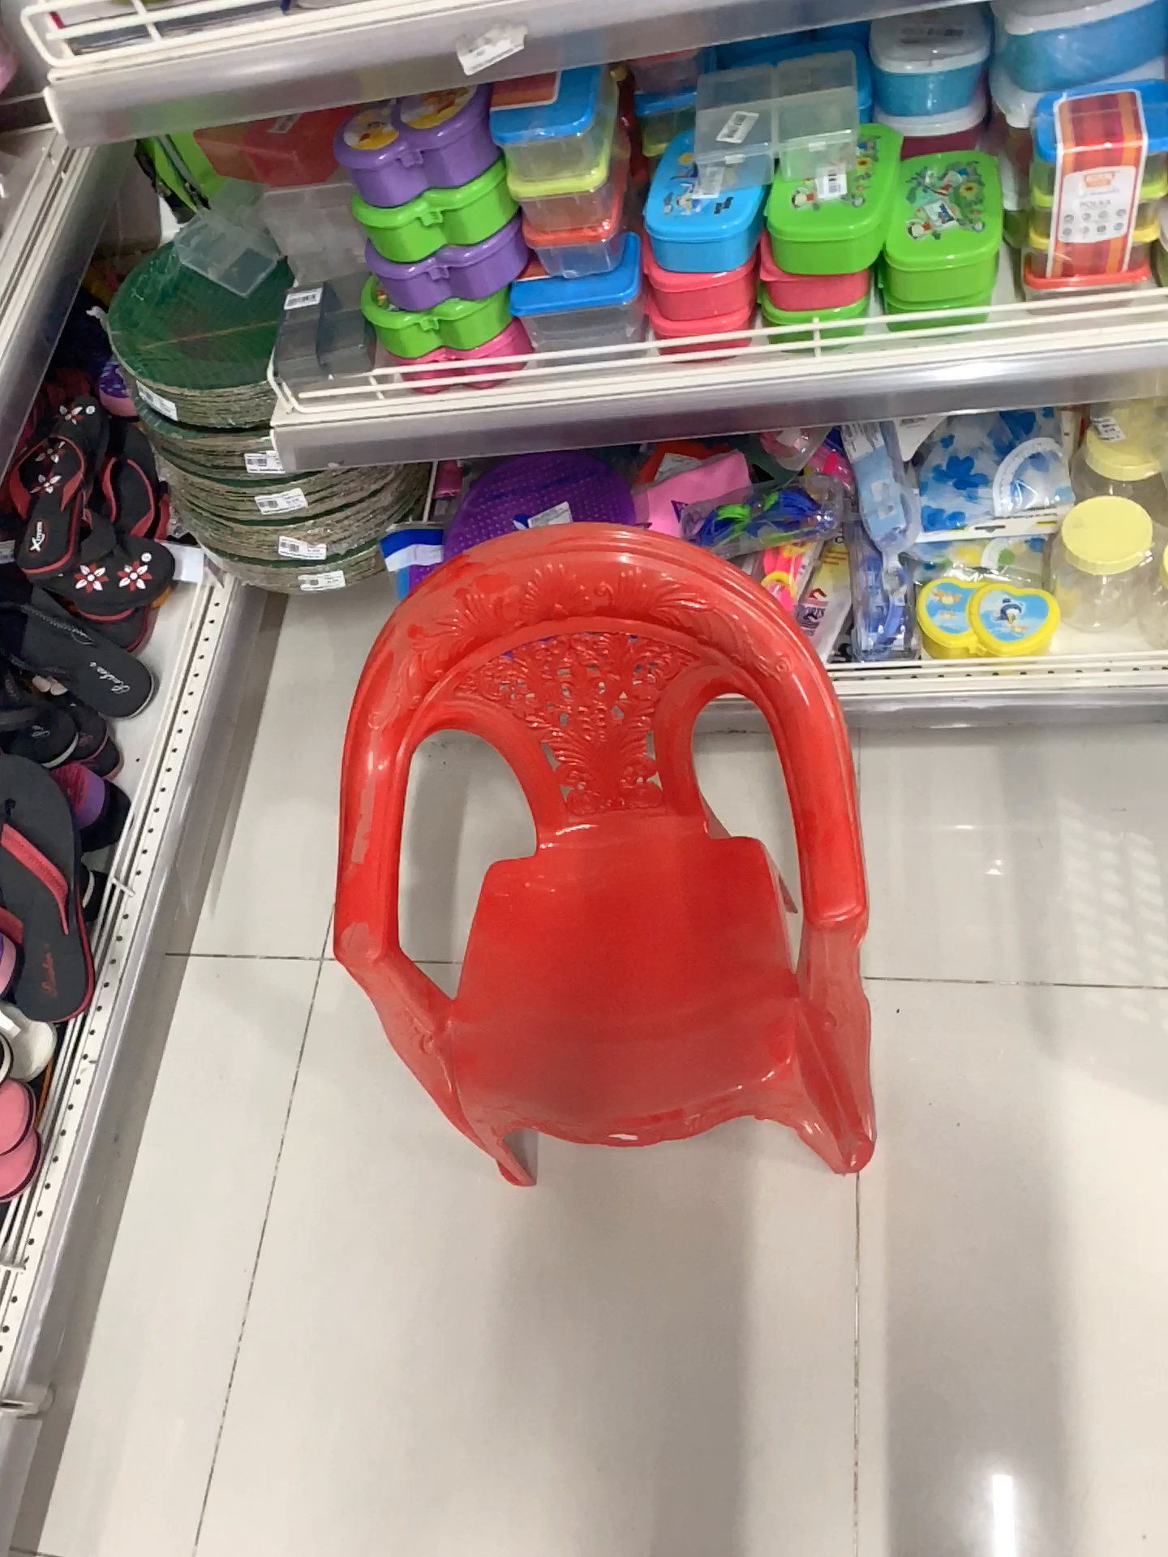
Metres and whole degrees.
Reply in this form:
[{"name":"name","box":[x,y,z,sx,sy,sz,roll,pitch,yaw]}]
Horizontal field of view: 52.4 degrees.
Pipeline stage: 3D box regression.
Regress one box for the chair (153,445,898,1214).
[{"name":"chair","box":[0.017,0.094,0.944,0.410,0.499,0.410,-5,62,13]}]
